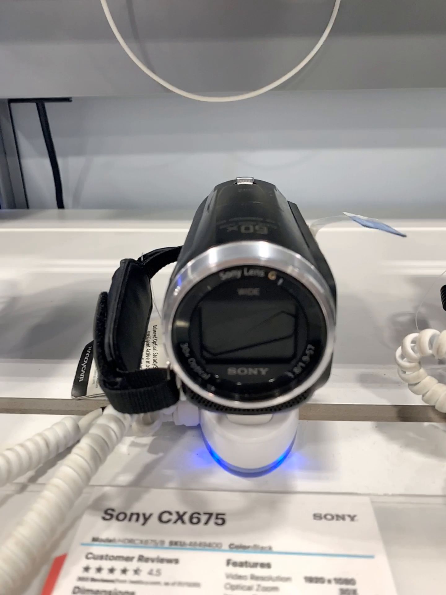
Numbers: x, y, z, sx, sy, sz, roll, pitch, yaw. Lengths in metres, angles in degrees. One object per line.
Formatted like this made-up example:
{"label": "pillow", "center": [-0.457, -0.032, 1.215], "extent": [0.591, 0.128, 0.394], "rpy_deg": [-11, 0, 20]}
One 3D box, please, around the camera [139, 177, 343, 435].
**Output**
{"label": "camera", "center": [0.007, -0.008, 0.185], "extent": [0.053, 0.060, 0.113], "rpy_deg": [0, 24, 2]}
